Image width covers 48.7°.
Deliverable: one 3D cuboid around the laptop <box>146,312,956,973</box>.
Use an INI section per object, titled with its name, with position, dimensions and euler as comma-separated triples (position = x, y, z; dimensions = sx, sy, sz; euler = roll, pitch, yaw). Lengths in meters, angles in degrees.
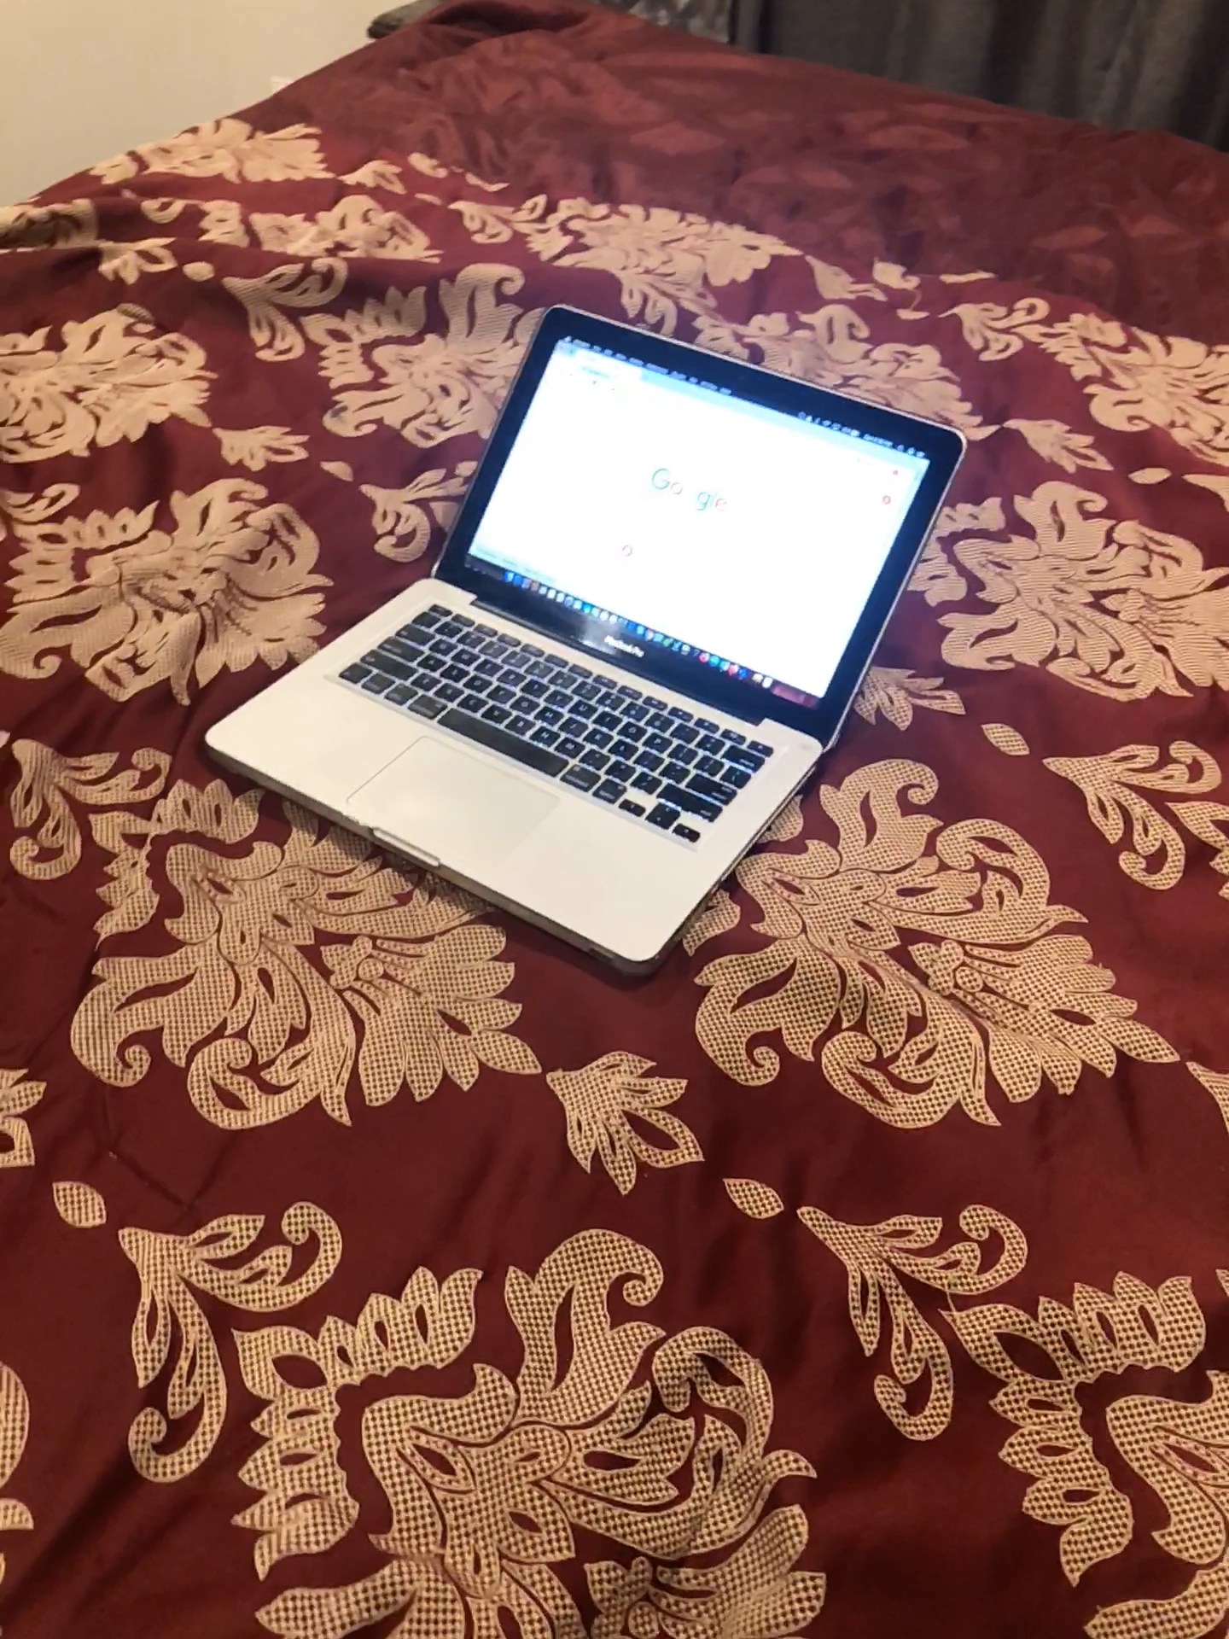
[laptop]
position = -0.018, -0.129, 0.773
dimensions = 0.293, 0.133, 0.343
euler = 25, 48, 21
